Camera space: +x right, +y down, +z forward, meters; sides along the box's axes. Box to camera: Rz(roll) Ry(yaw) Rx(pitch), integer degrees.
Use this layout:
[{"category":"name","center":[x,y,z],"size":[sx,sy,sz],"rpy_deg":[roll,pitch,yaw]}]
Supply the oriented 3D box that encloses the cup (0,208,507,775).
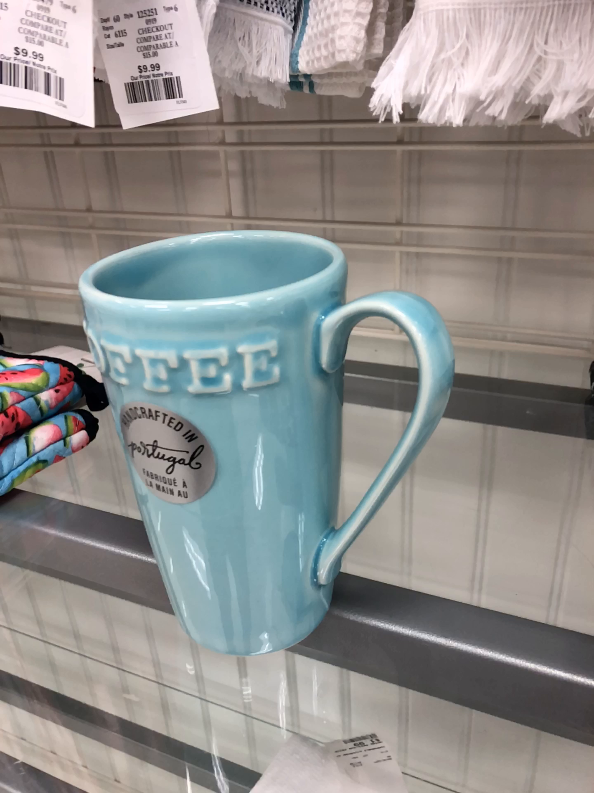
[{"category":"cup","center":[-0.012,0.018,0.235],"size":[0.130,0.139,0.090],"rpy_deg":[16,32,34]}]
